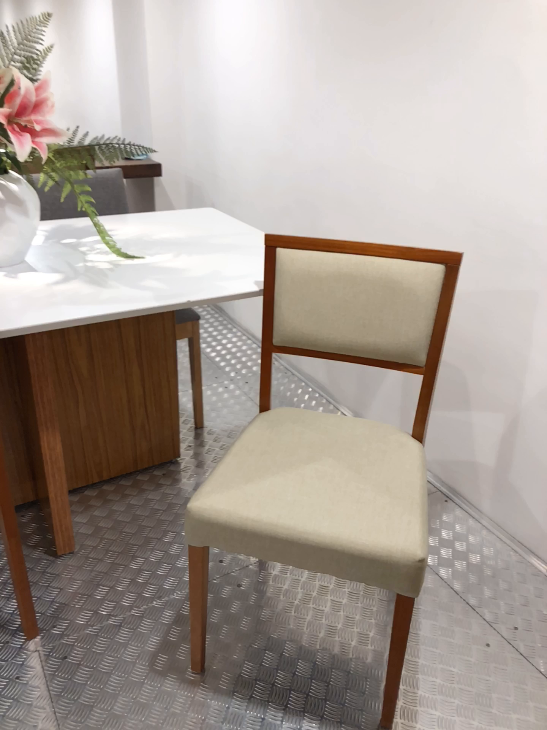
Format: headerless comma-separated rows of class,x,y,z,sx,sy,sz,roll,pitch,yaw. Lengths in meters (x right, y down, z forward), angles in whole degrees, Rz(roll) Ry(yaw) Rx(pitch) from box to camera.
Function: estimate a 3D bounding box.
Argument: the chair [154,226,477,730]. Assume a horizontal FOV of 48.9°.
chair,0.123,0.213,1.409,0.520,0.894,0.624,9,26,14
